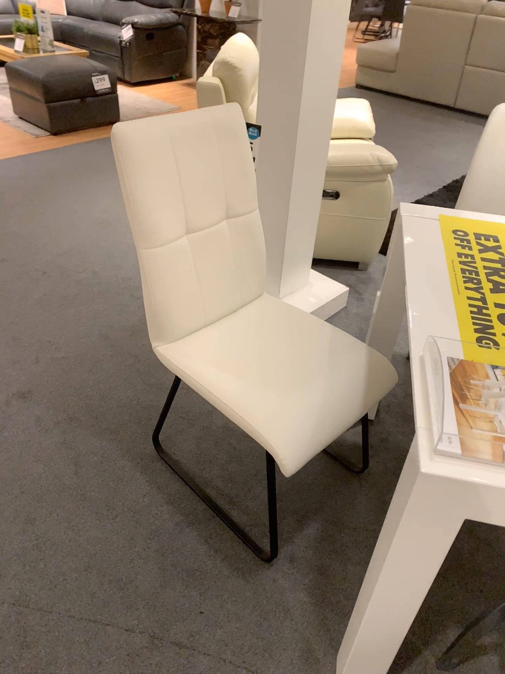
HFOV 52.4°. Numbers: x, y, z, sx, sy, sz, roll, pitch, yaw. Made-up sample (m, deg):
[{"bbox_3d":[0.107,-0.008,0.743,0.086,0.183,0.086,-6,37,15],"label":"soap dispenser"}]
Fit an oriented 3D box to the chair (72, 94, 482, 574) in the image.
[{"bbox_3d":[0.021,-0.034,1.307,0.633,0.891,0.543,32,45,31],"label":"chair"}]
